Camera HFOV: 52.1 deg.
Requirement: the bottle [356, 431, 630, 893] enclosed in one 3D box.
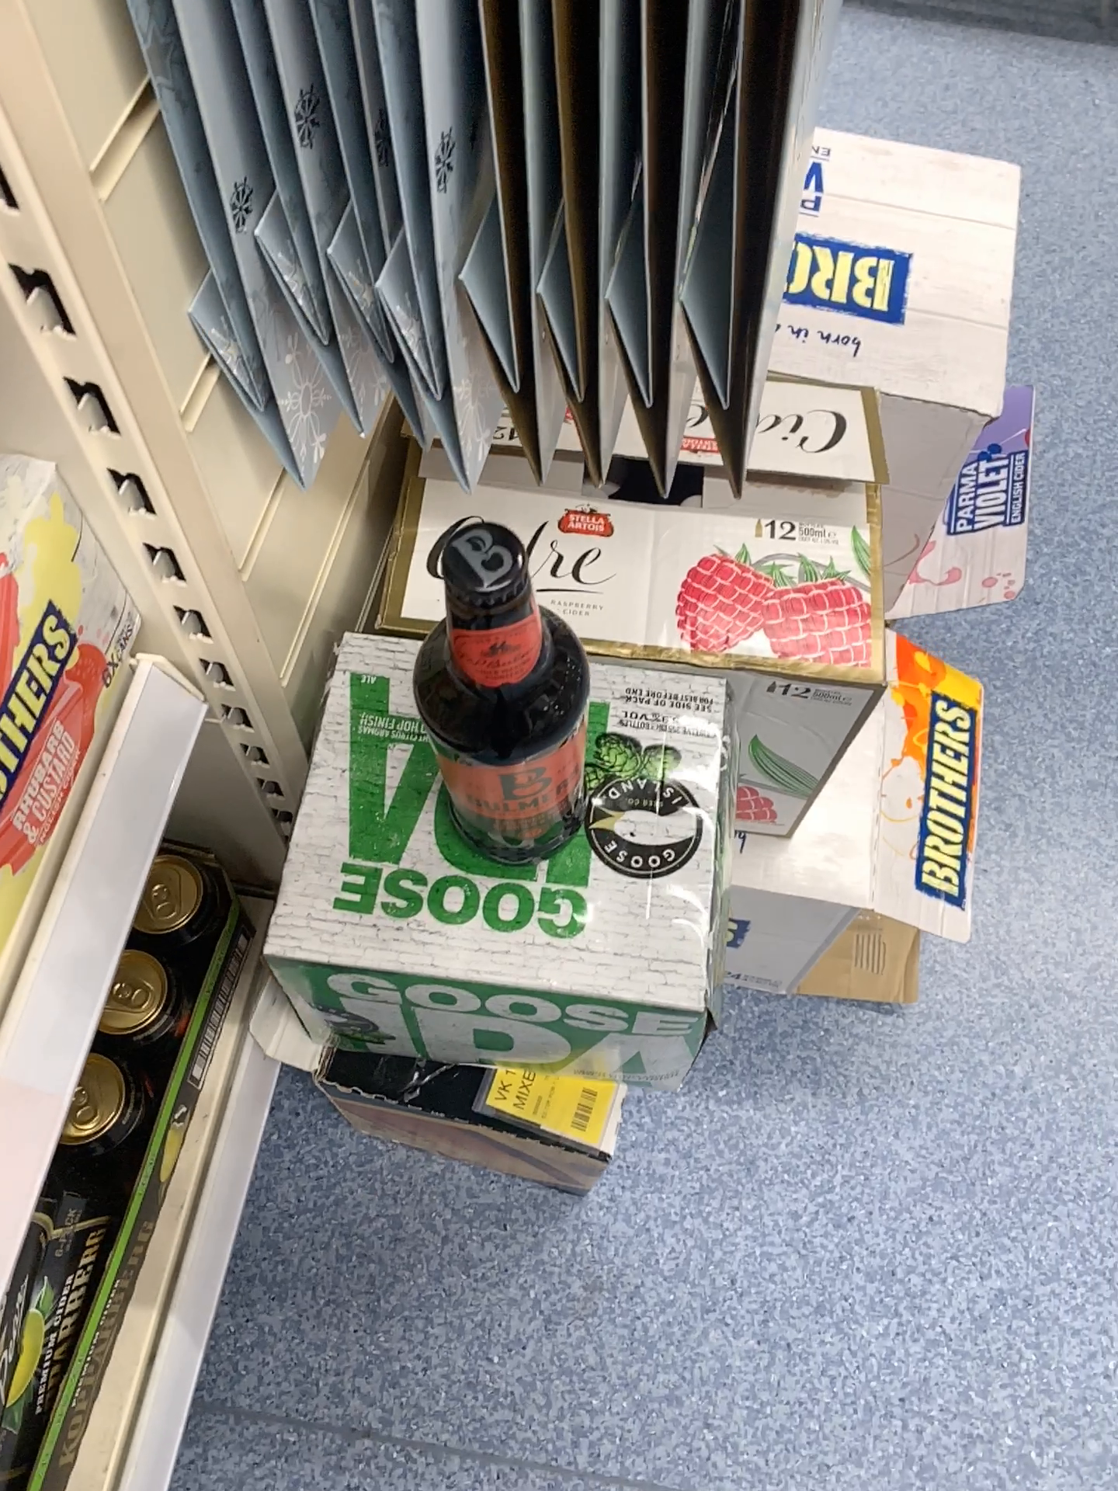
[{"bbox_3d":[-0.022,-0.017,0.481,0.070,0.235,0.070,0,65,0],"label":"bottle"}]
